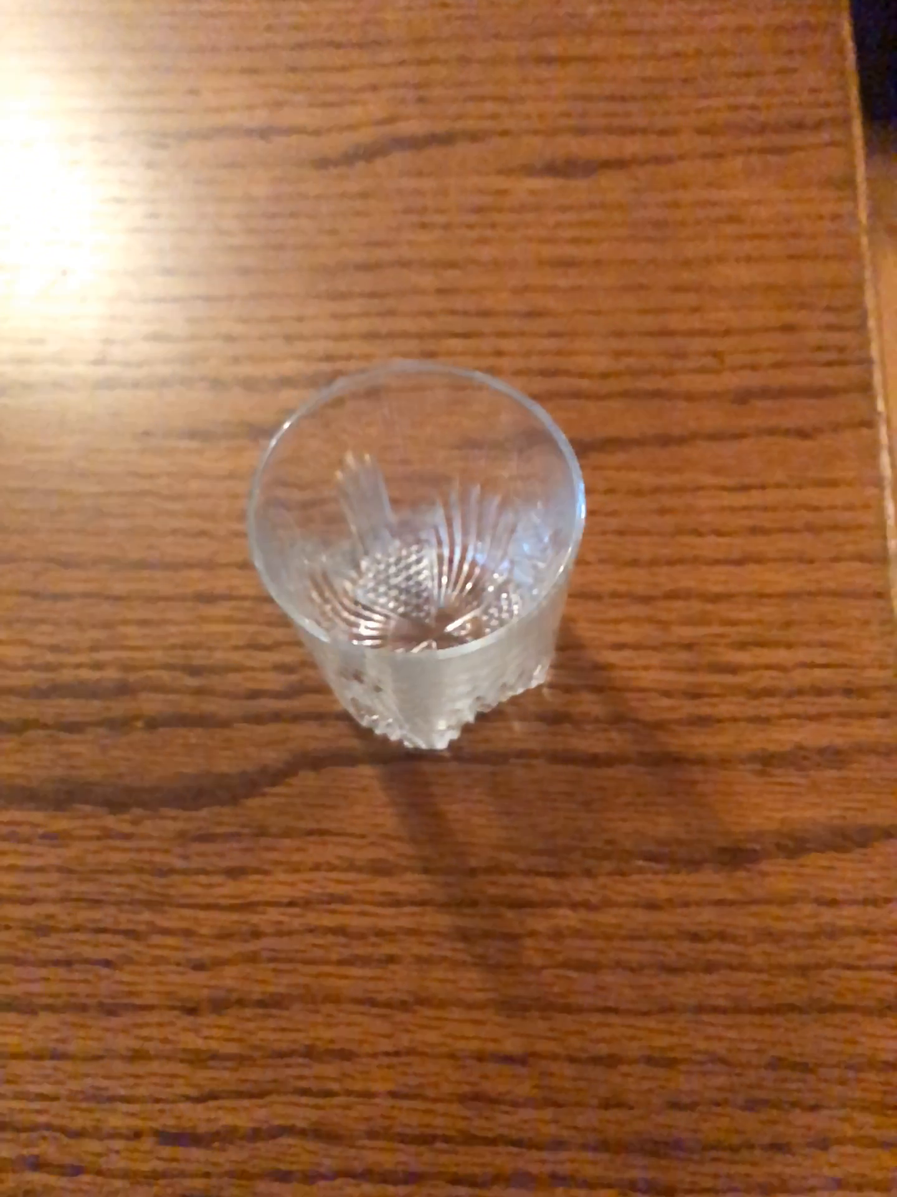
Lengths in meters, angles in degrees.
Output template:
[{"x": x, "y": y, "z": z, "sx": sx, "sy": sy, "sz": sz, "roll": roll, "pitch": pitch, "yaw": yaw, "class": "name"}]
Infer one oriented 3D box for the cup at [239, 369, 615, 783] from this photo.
[{"x": -0.006, "y": -0.002, "z": 0.279, "sx": 0.084, "sy": 0.084, "sz": 0.080, "roll": -1, "pitch": 66, "yaw": 3, "class": "cup"}]
